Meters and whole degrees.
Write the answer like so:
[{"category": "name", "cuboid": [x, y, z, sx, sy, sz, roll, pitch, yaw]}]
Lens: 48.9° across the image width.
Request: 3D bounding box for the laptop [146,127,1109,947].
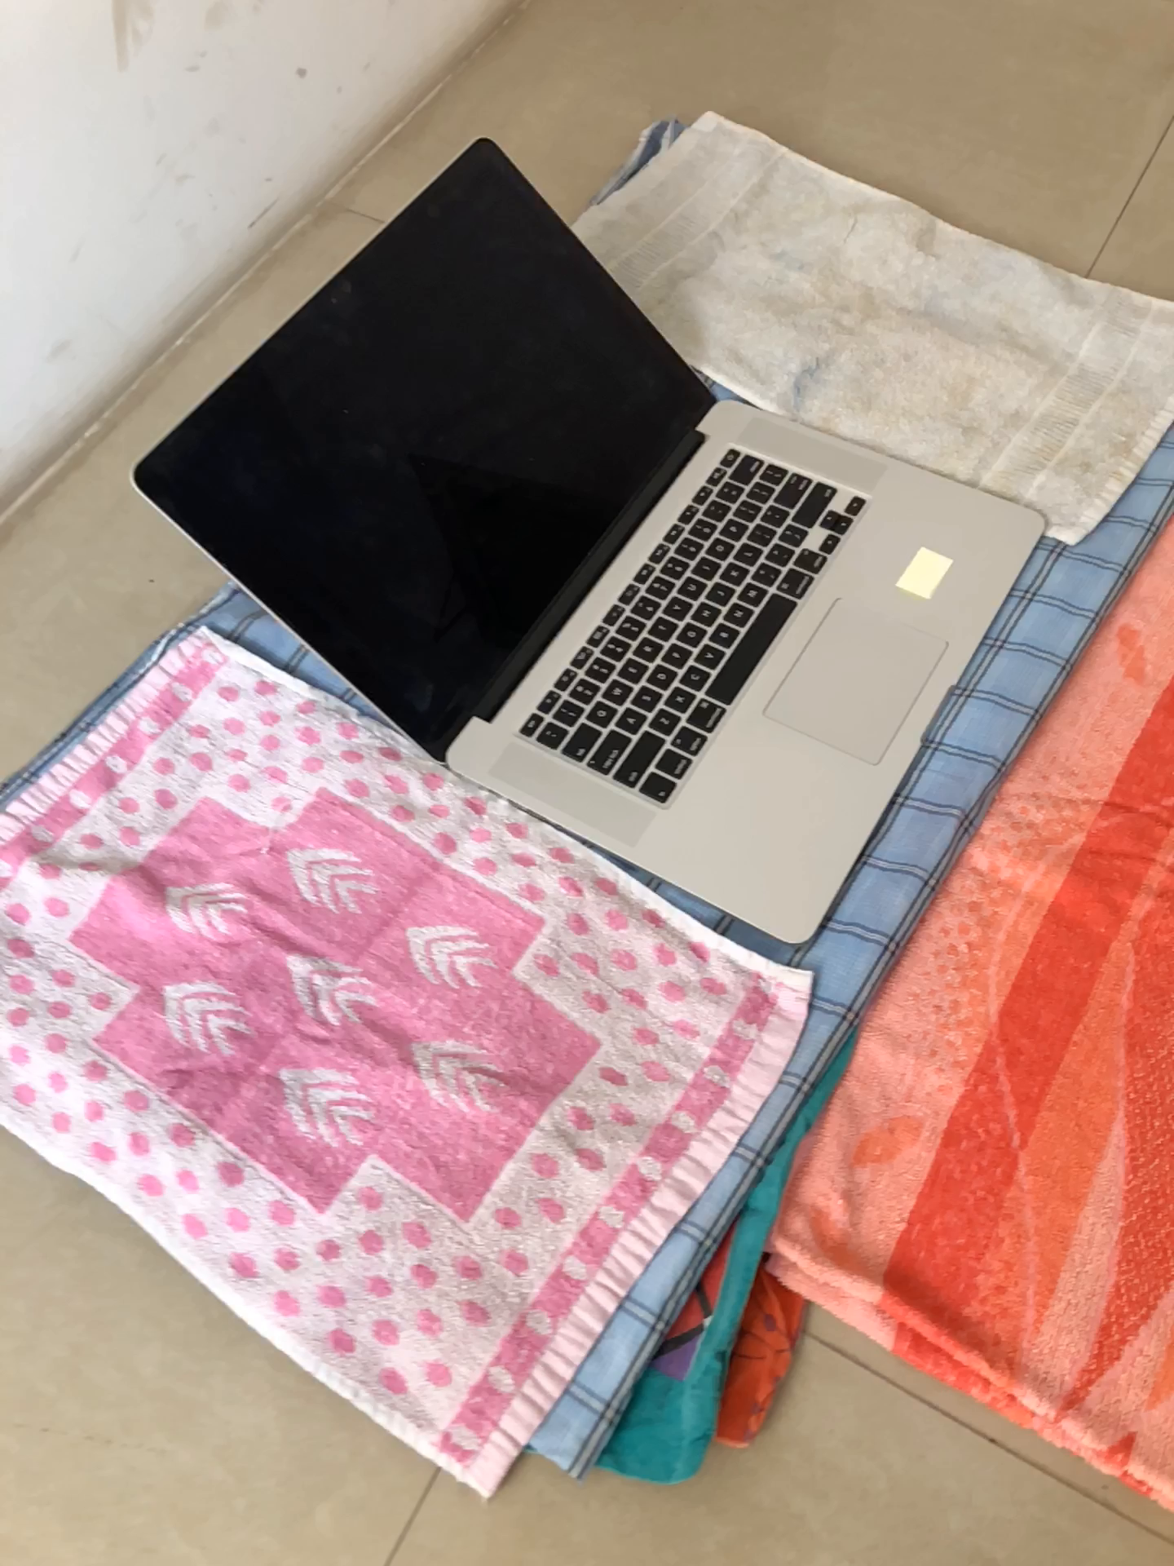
[{"category": "laptop", "cuboid": [0.026, -0.168, 0.768, 0.413, 0.144, 0.344, 27, 66, 18]}]
